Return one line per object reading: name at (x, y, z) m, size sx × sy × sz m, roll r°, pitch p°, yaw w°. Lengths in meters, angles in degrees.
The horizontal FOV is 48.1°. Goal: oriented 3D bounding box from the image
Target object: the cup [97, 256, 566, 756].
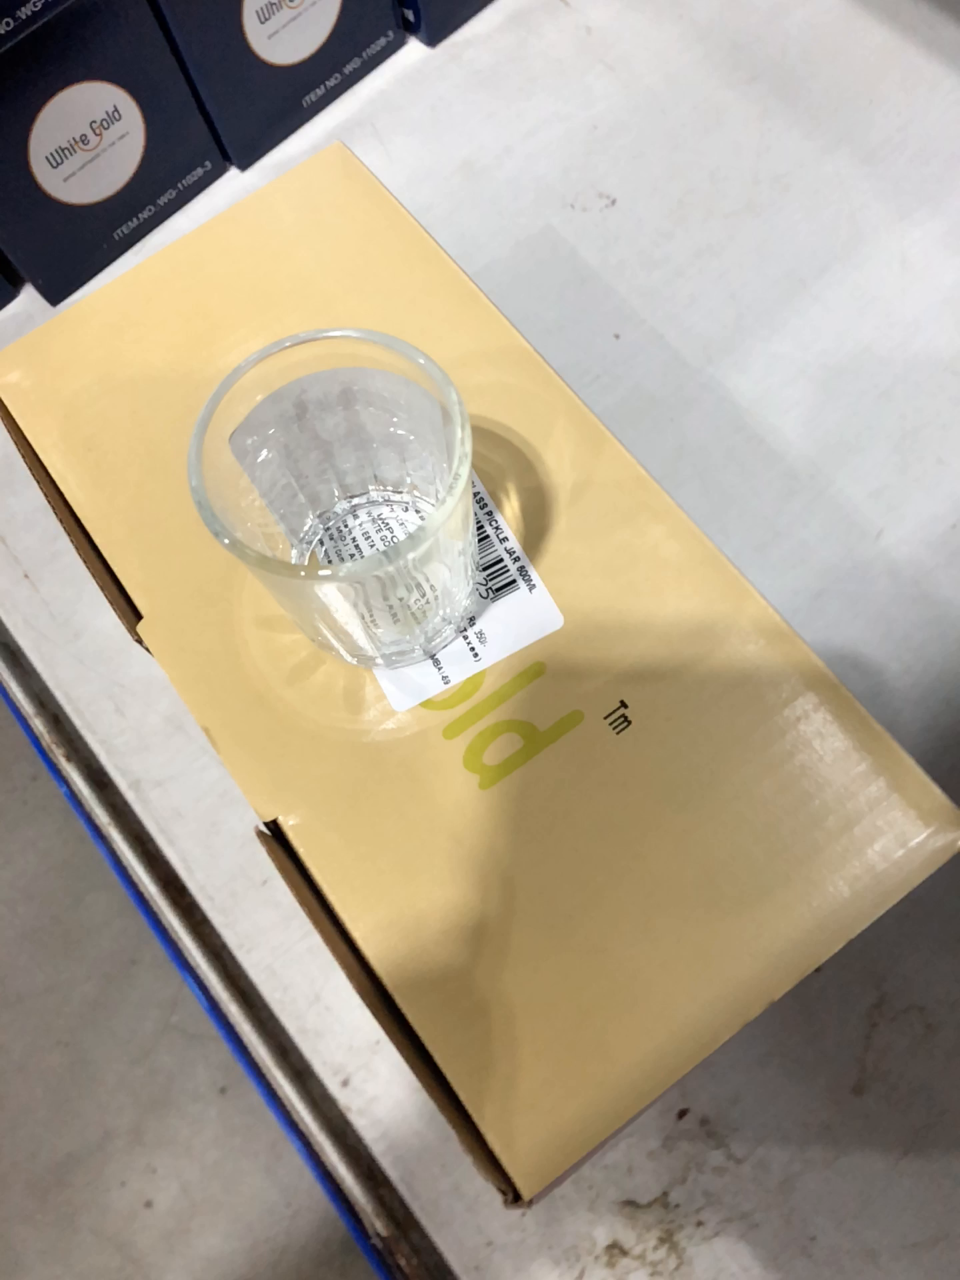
cup at (-0.021, -0.020, 0.193) m, size 0.050 × 0.060 × 0.050 m, roll -2°, pitch 70°, yaw 7°
